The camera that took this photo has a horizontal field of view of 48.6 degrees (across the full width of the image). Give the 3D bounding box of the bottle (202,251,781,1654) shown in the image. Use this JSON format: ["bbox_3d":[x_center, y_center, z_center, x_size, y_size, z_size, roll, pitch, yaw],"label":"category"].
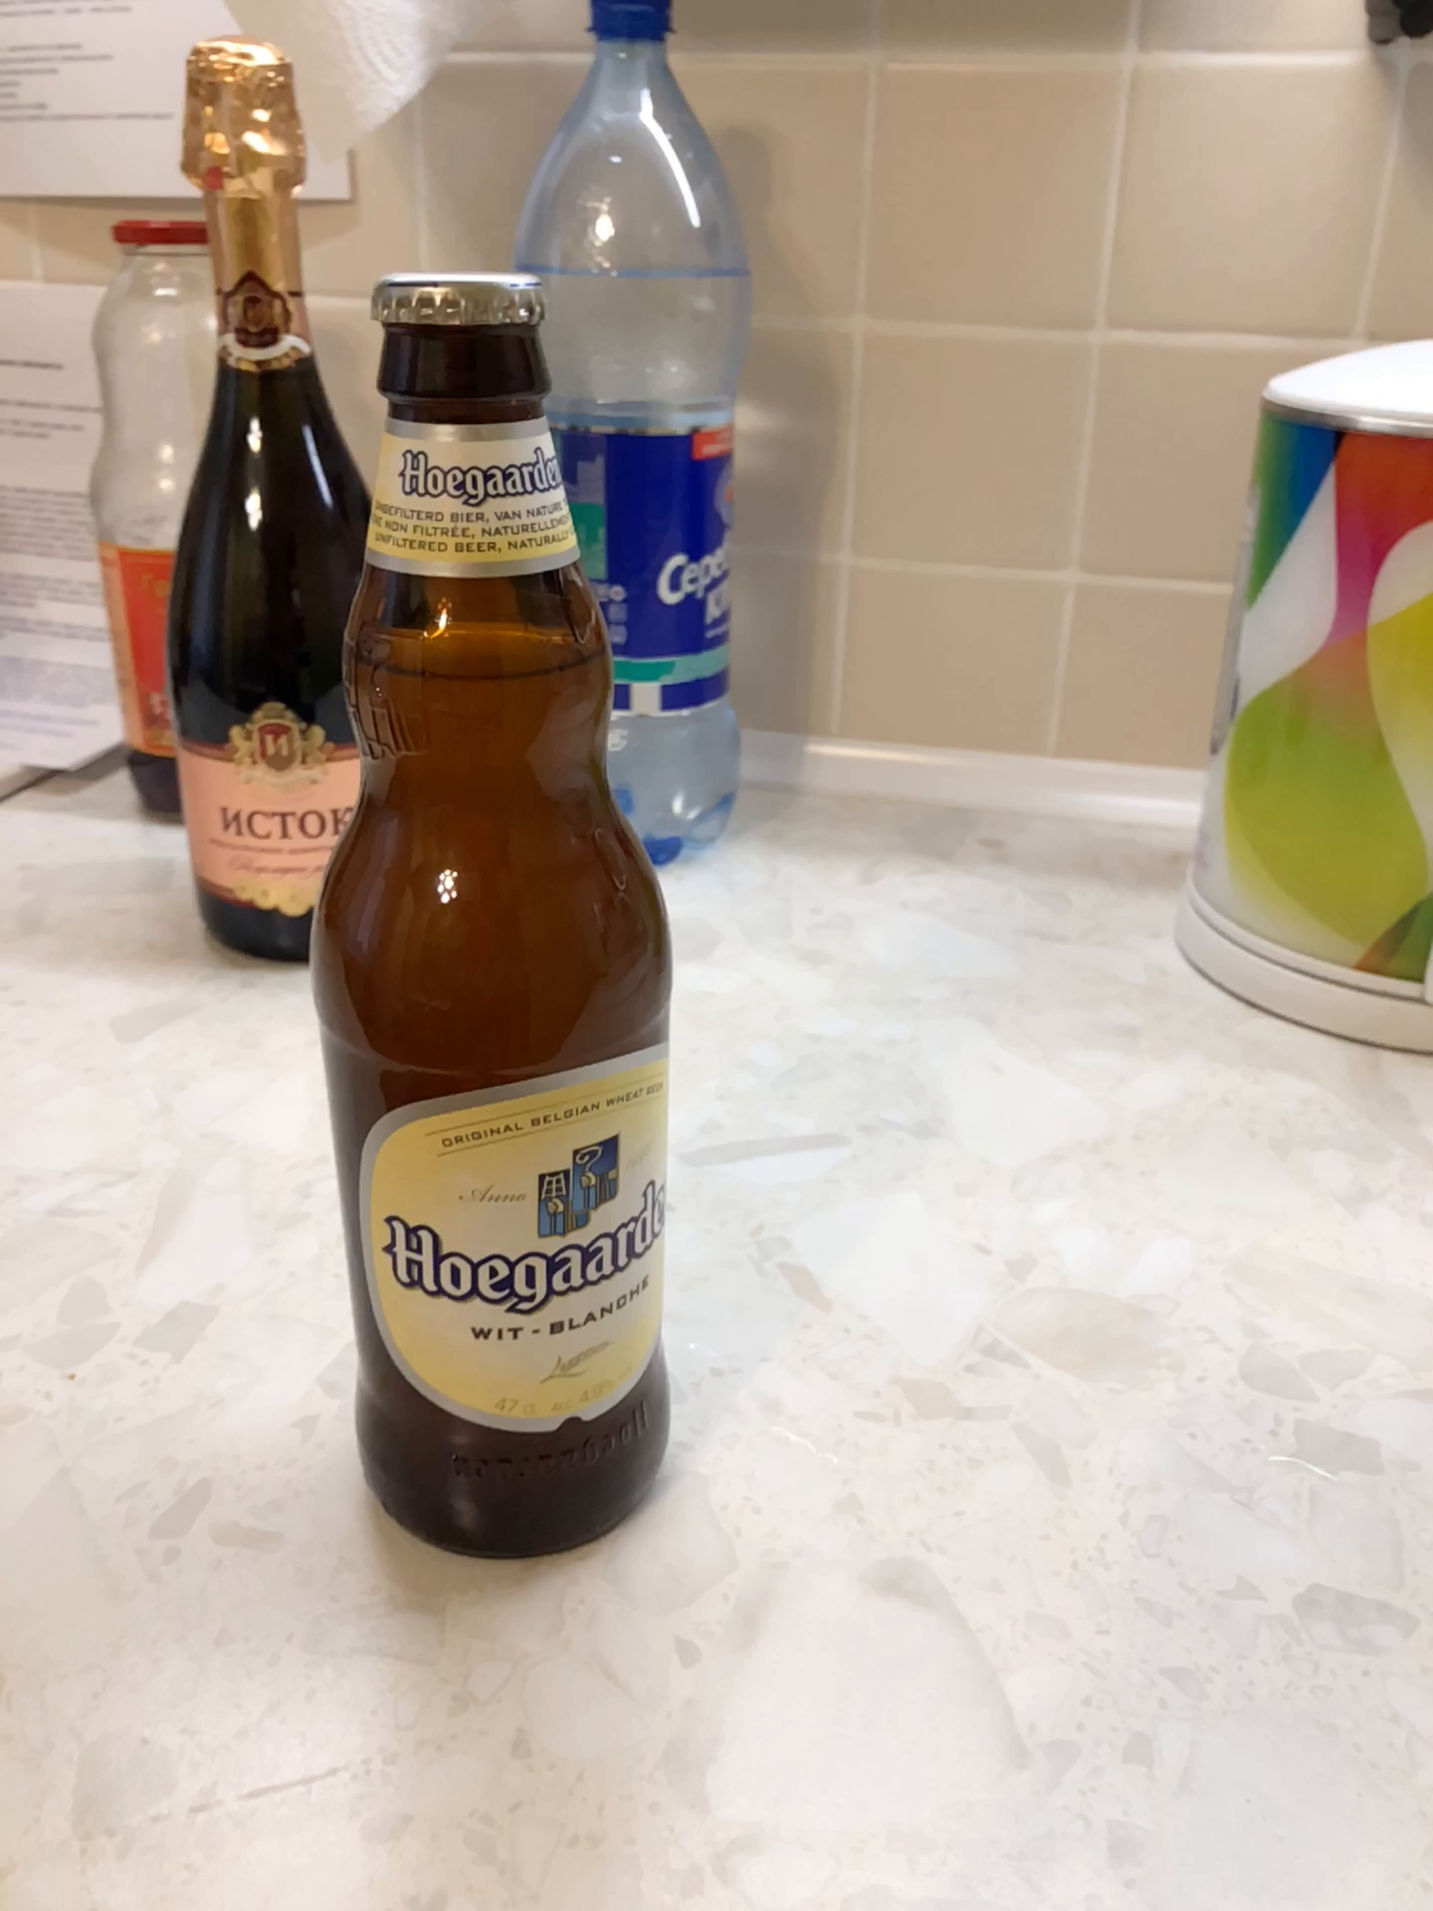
[{"bbox_3d":[-0.042,0.002,0.306,0.070,0.248,0.080,-10,27,-24],"label":"bottle"}]
